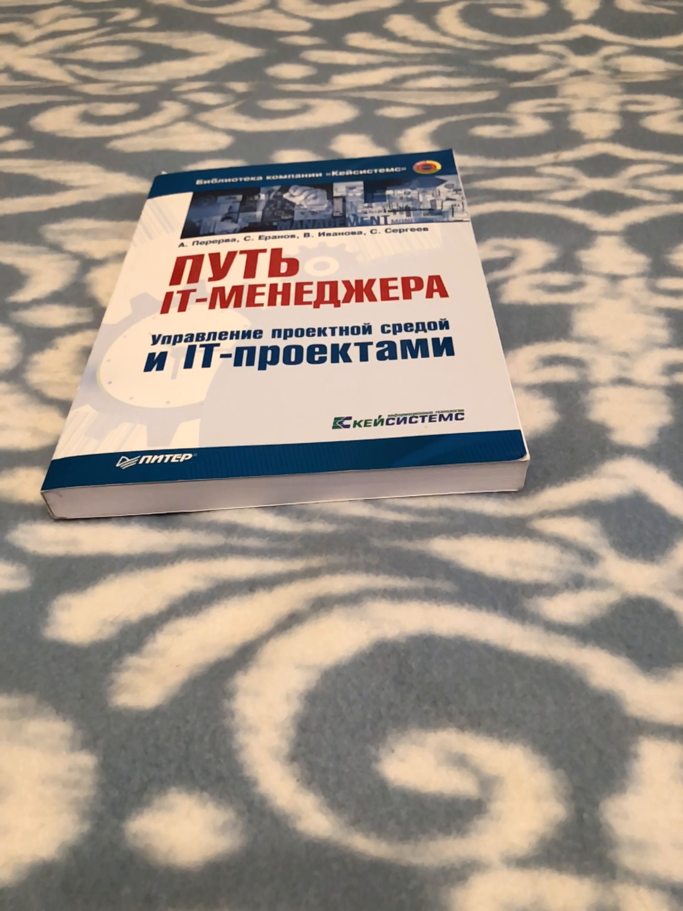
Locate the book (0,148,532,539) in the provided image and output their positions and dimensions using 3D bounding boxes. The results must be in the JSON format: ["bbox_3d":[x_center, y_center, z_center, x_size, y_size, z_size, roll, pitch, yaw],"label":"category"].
[{"bbox_3d":[-0.026,-0.066,0.329,0.173,0.019,0.229,-4,46,4],"label":"book"}]
